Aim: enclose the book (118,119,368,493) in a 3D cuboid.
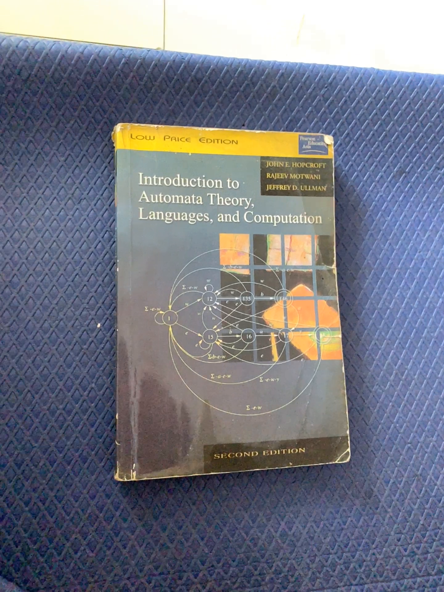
[{"bbox_3d":[0.009,0.001,0.318,0.150,0.050,0.230,-2,82,-10],"label":"book"}]
